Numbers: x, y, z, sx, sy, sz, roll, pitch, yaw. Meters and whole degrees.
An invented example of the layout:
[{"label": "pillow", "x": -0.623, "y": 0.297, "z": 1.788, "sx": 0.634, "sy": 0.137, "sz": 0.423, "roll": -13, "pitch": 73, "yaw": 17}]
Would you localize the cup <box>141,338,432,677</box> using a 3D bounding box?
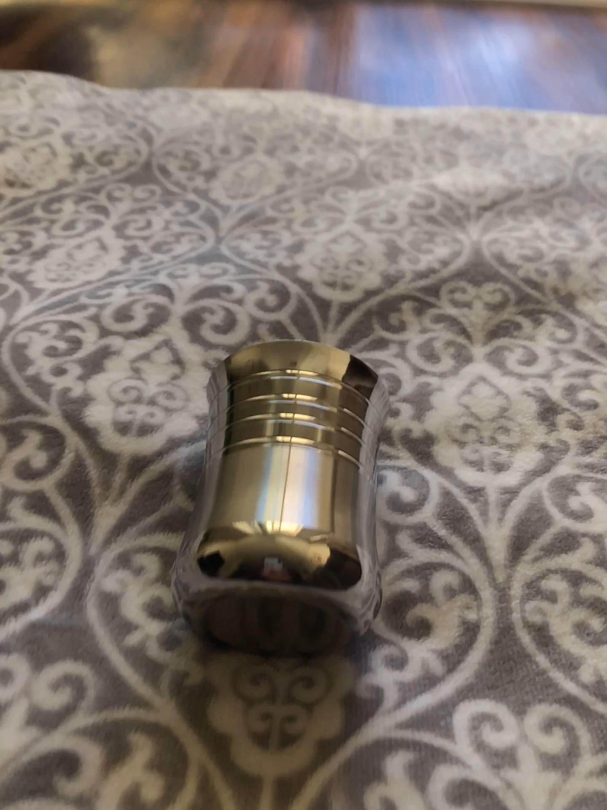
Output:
[{"label": "cup", "x": -0.002, "y": 0.033, "z": 0.233, "sx": 0.077, "sy": 0.066, "sz": 0.087, "roll": 5, "pitch": 44, "yaw": 2}]
